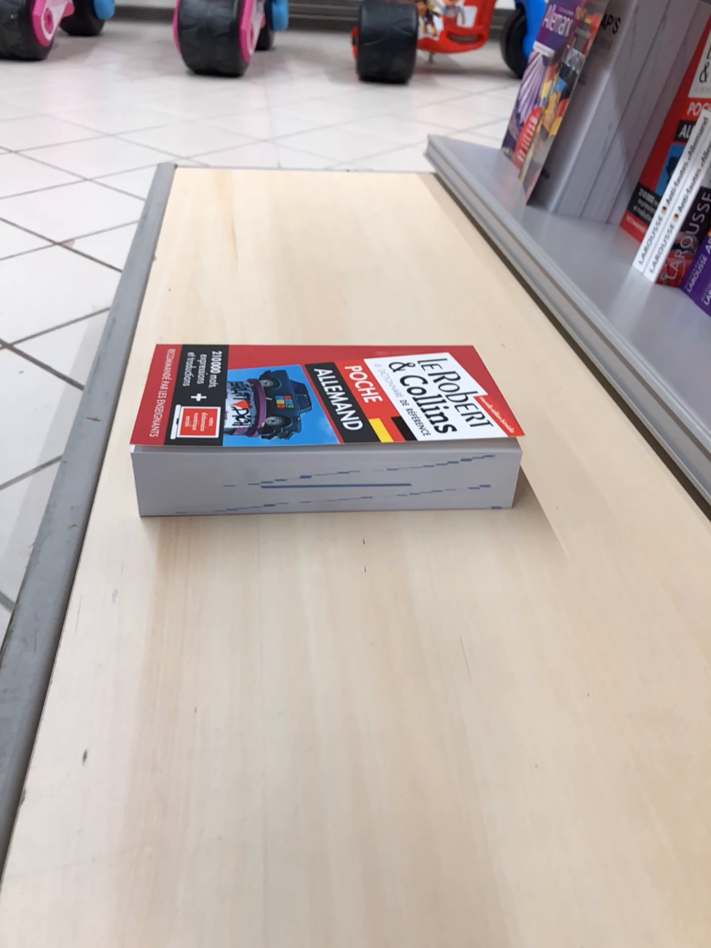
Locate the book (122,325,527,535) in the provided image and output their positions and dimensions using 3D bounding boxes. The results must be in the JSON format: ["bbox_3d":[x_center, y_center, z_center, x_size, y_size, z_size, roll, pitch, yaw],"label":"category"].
[{"bbox_3d":[-0.017,-0.027,0.388,0.170,0.050,0.111,-2,33,-6],"label":"book"}]
